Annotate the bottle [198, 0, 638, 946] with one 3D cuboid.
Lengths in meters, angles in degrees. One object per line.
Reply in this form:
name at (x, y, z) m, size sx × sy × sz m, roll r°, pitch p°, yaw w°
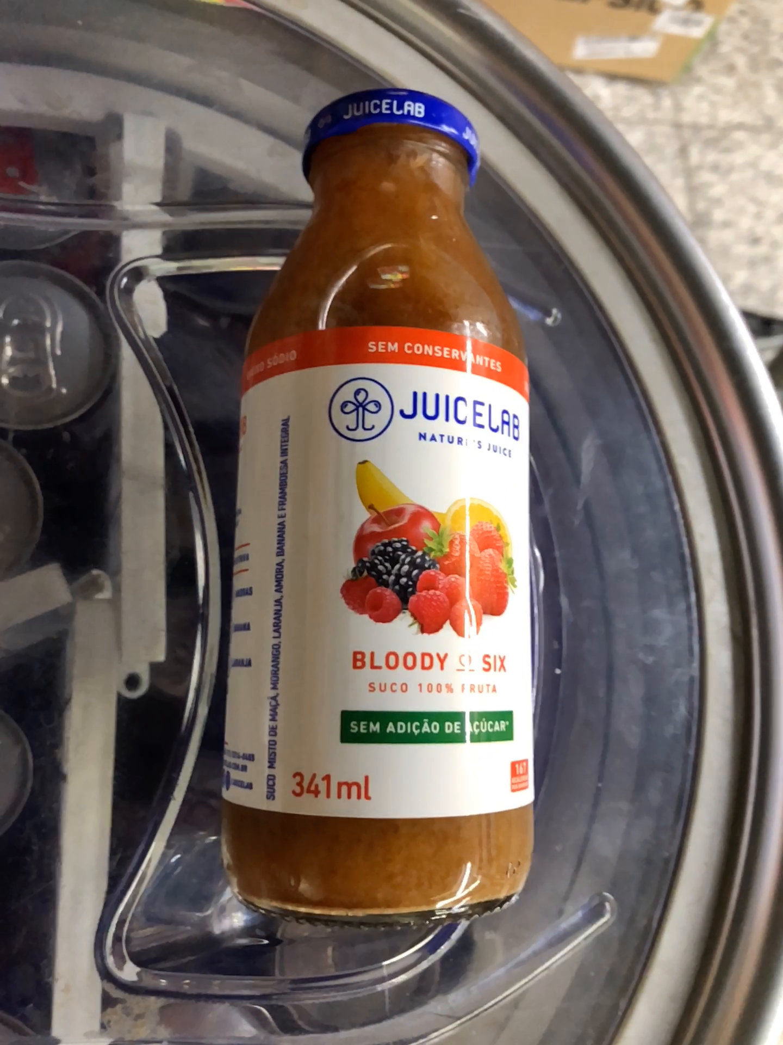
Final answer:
bottle at (0.003, -0.018, 0.201) m, size 0.070 × 0.060 × 0.190 m, roll 6°, pitch 77°, yaw -28°
